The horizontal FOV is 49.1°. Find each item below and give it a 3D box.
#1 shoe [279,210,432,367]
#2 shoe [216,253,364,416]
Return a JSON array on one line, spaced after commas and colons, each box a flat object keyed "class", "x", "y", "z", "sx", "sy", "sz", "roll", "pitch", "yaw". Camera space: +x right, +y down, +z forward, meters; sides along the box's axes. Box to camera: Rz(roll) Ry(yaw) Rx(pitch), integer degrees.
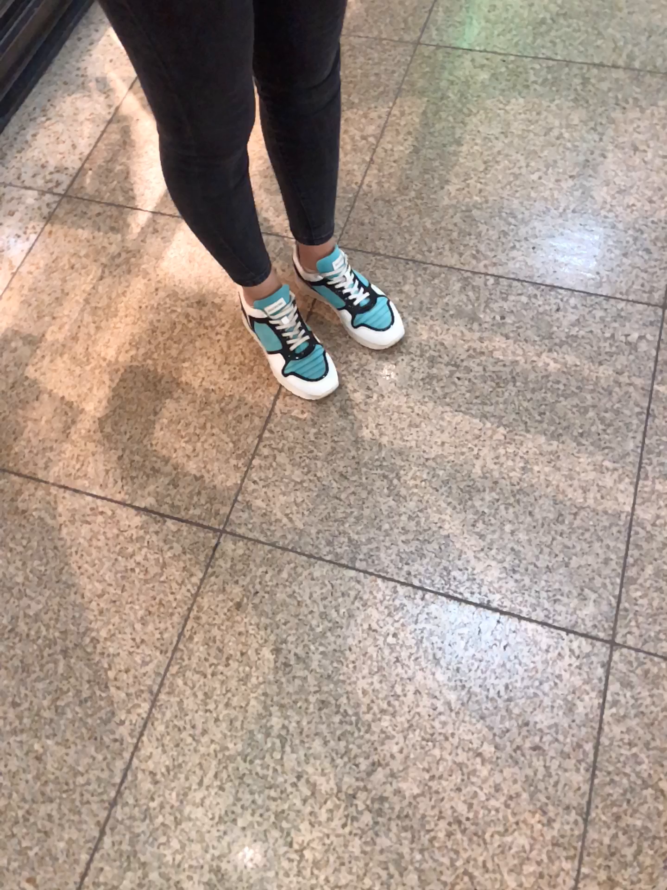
[{"class": "shoe", "x": 0.037, "y": -0.266, "z": 1.235, "sx": 0.110, "sy": 0.100, "sz": 0.250, "roll": -40, "pitch": 66, "yaw": -13}, {"class": "shoe", "x": -0.071, "y": -0.182, "z": 1.190, "sx": 0.107, "sy": 0.100, "sz": 0.240, "roll": -36, "pitch": 65, "yaw": -12}]
